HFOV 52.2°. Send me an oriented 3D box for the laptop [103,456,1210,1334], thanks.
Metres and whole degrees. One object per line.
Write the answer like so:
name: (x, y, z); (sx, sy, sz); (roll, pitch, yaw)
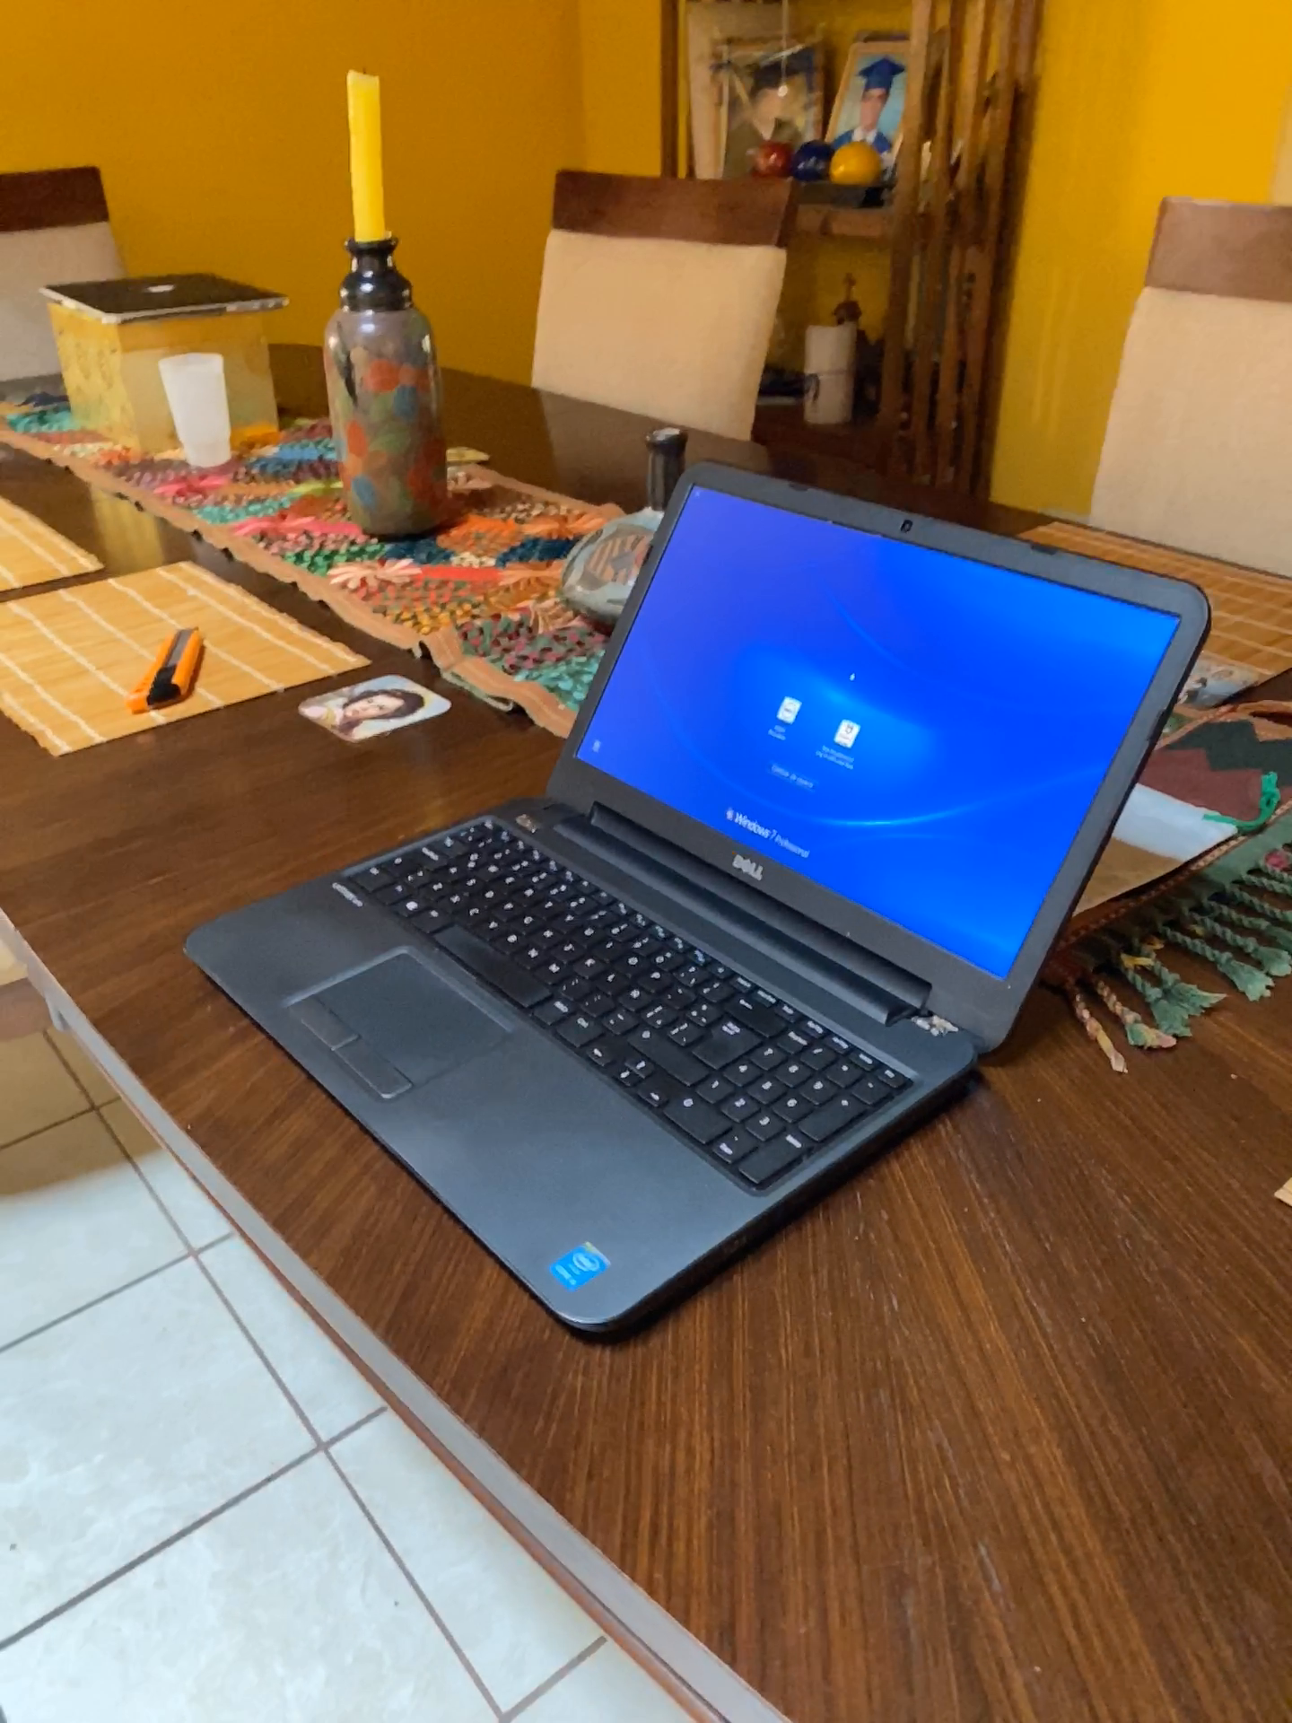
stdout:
laptop: (0.004, -0.043, 0.690); (0.396, 0.194, 0.368); (-25, 39, -34)
